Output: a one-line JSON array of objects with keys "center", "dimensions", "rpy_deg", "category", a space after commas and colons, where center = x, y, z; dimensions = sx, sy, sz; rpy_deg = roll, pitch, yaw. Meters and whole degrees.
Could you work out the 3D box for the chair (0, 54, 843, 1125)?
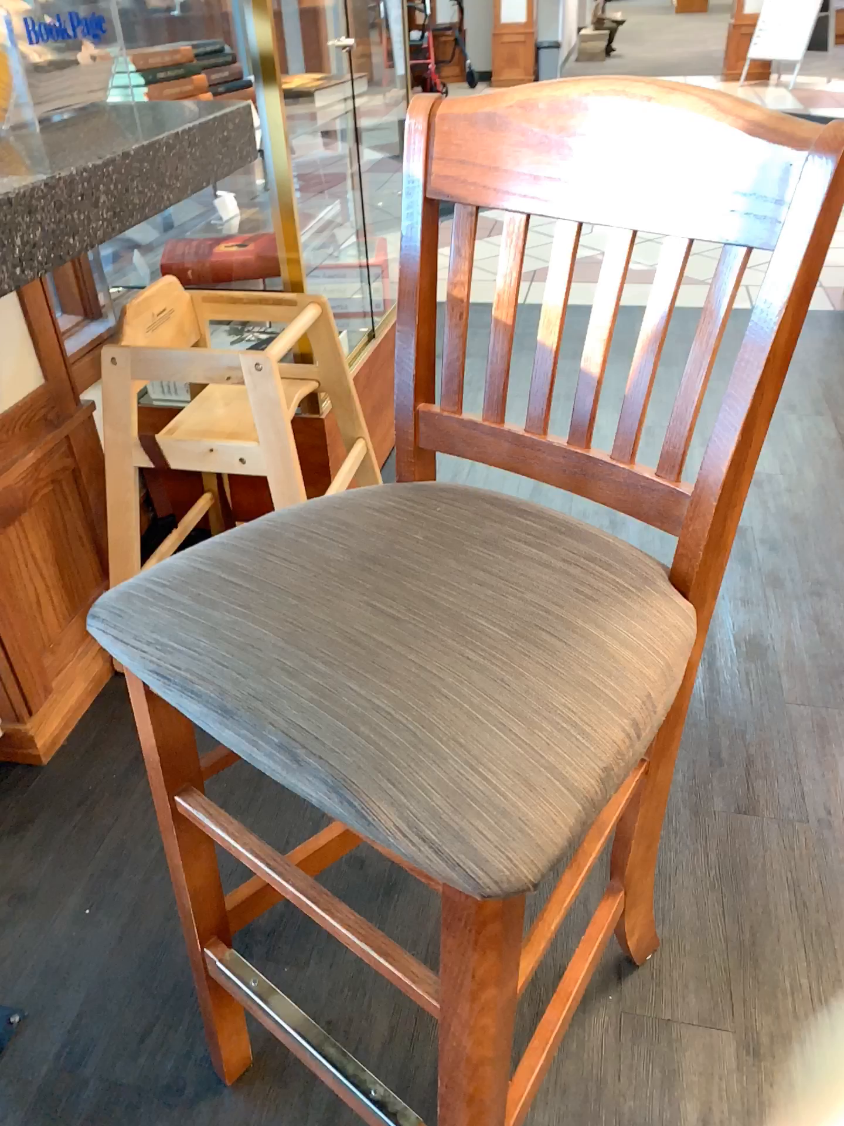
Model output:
[{"center": [-0.002, 0.104, 0.913], "dimensions": [0.602, 1.045, 0.661], "rpy_deg": [26, 44, 35], "category": "chair"}]
